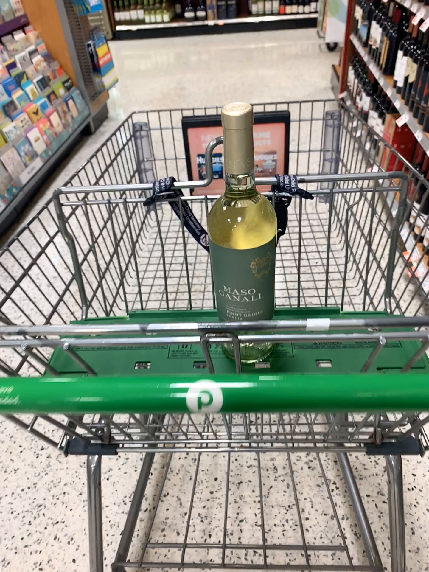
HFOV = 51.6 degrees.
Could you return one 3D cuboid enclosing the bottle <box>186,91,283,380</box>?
[{"bbox_3d":[0.035,-0.037,0.520,0.080,0.337,0.091,2,39,10],"label":"bottle"}]
